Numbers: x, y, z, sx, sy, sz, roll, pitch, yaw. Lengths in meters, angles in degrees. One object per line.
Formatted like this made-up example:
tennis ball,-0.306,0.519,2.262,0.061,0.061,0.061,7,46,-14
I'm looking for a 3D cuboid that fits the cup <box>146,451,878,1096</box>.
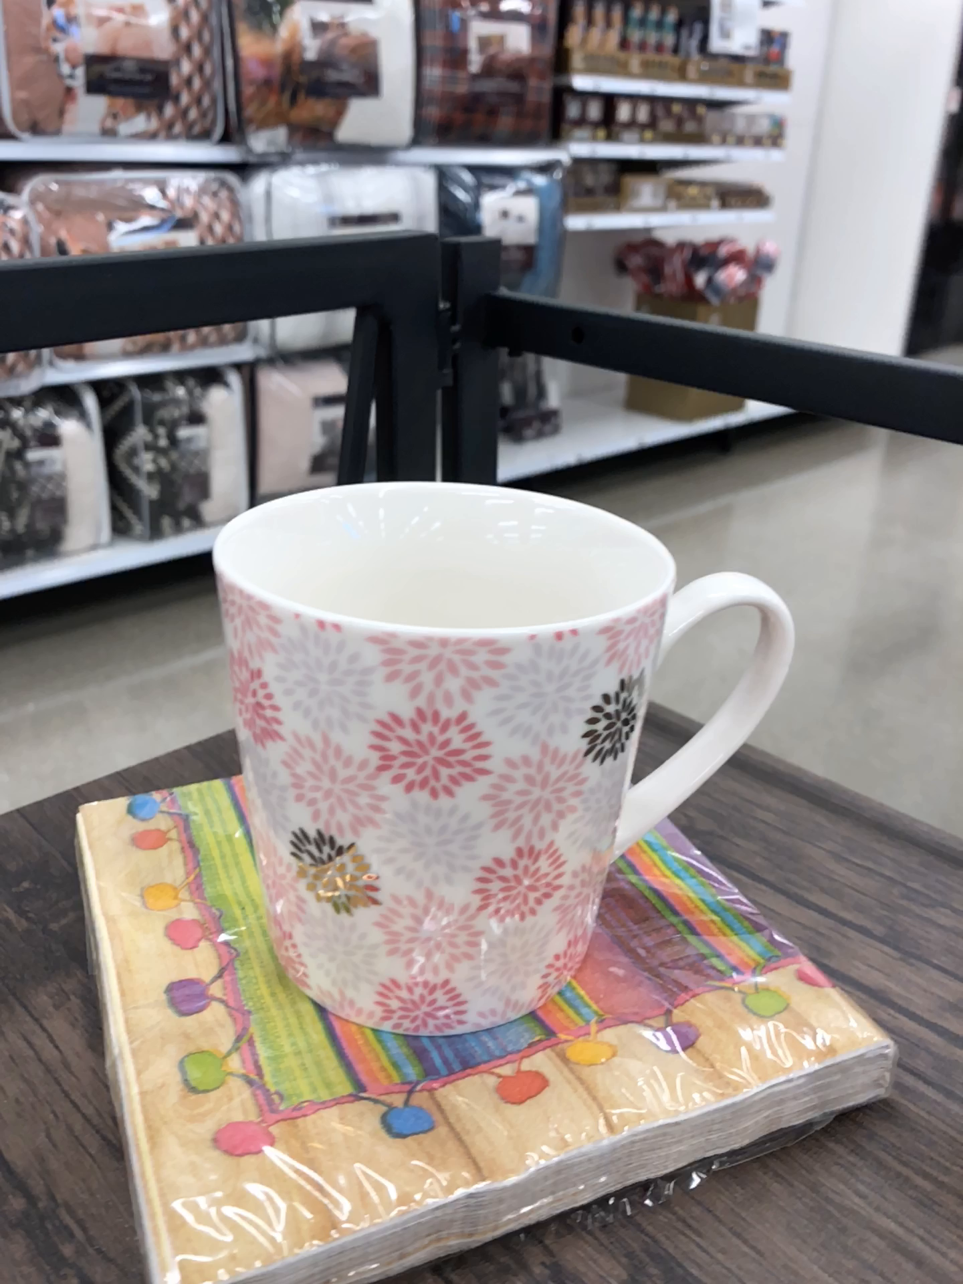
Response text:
cup,-0.002,0.020,0.265,0.140,0.100,0.100,-7,26,-17
